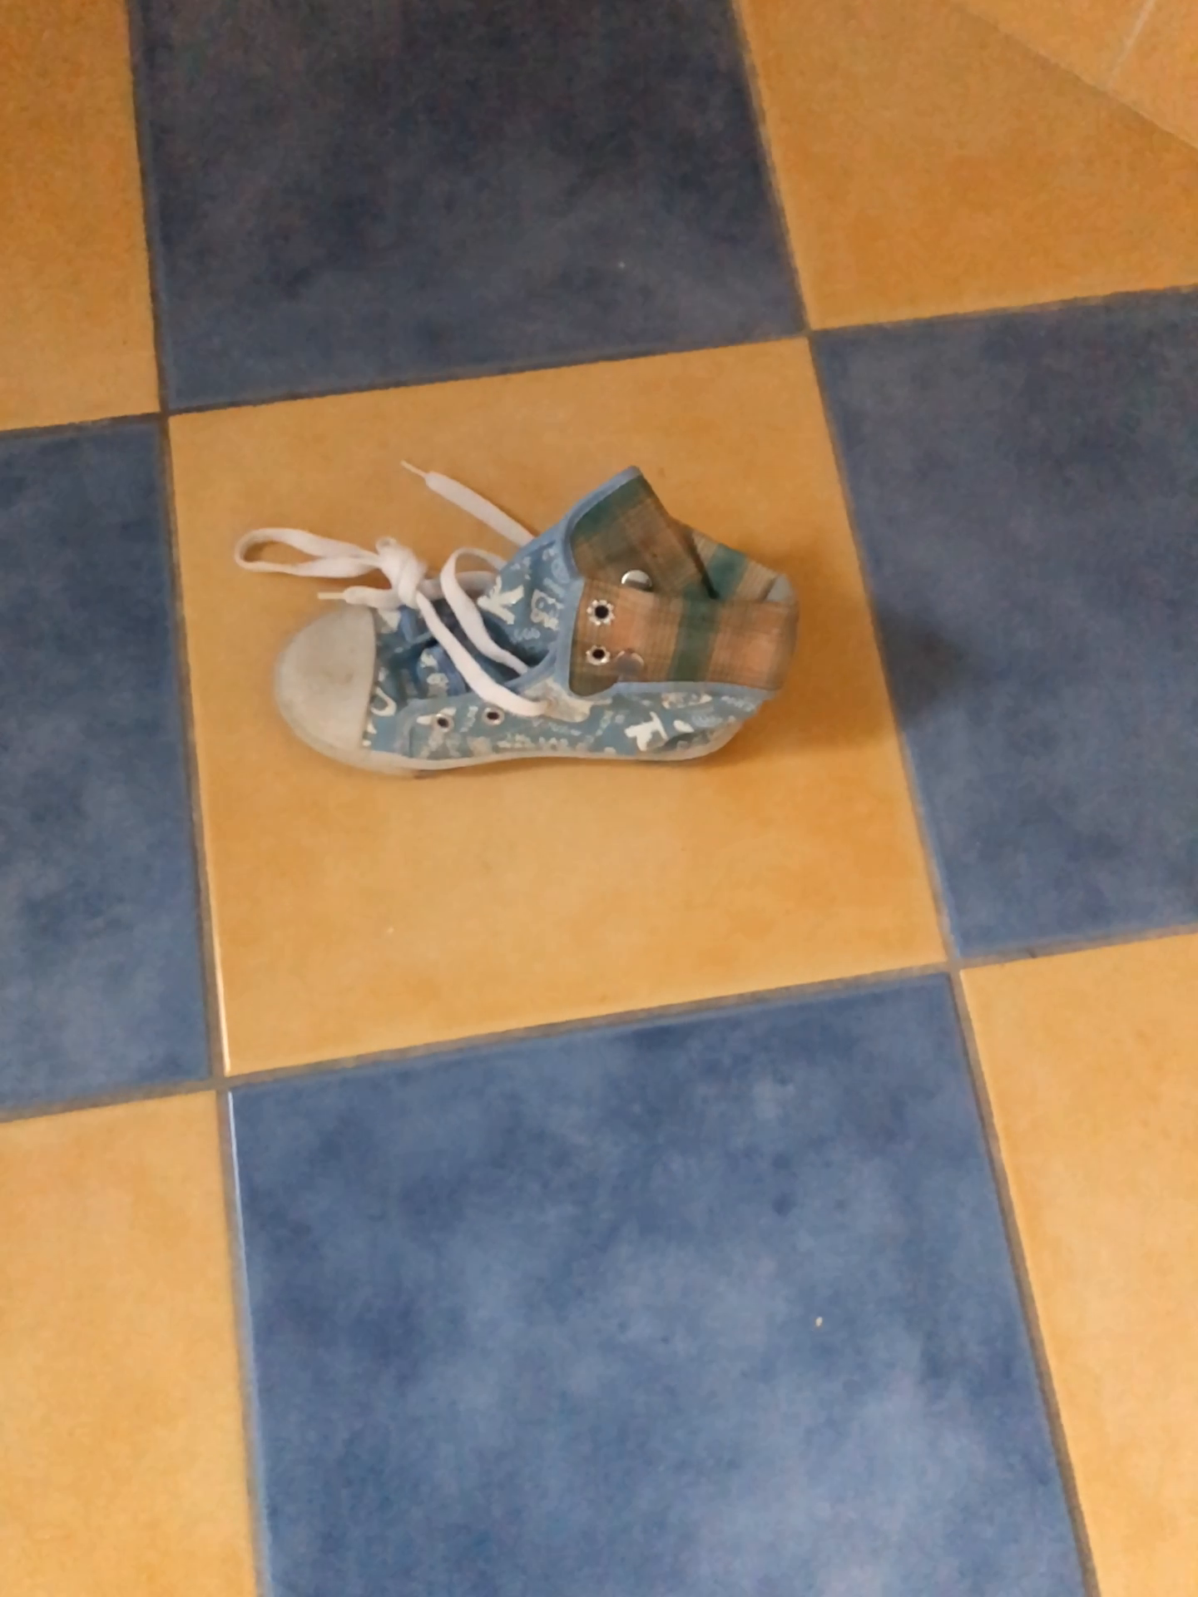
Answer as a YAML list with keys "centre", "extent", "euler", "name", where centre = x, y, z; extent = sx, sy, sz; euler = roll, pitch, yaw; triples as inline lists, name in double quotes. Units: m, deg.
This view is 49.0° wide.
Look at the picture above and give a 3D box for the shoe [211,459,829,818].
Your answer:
- centre: [-0.029, -0.055, 0.495]
  extent: [0.200, 0.120, 0.080]
  euler: [-5, 75, -3]
  name: "shoe"
